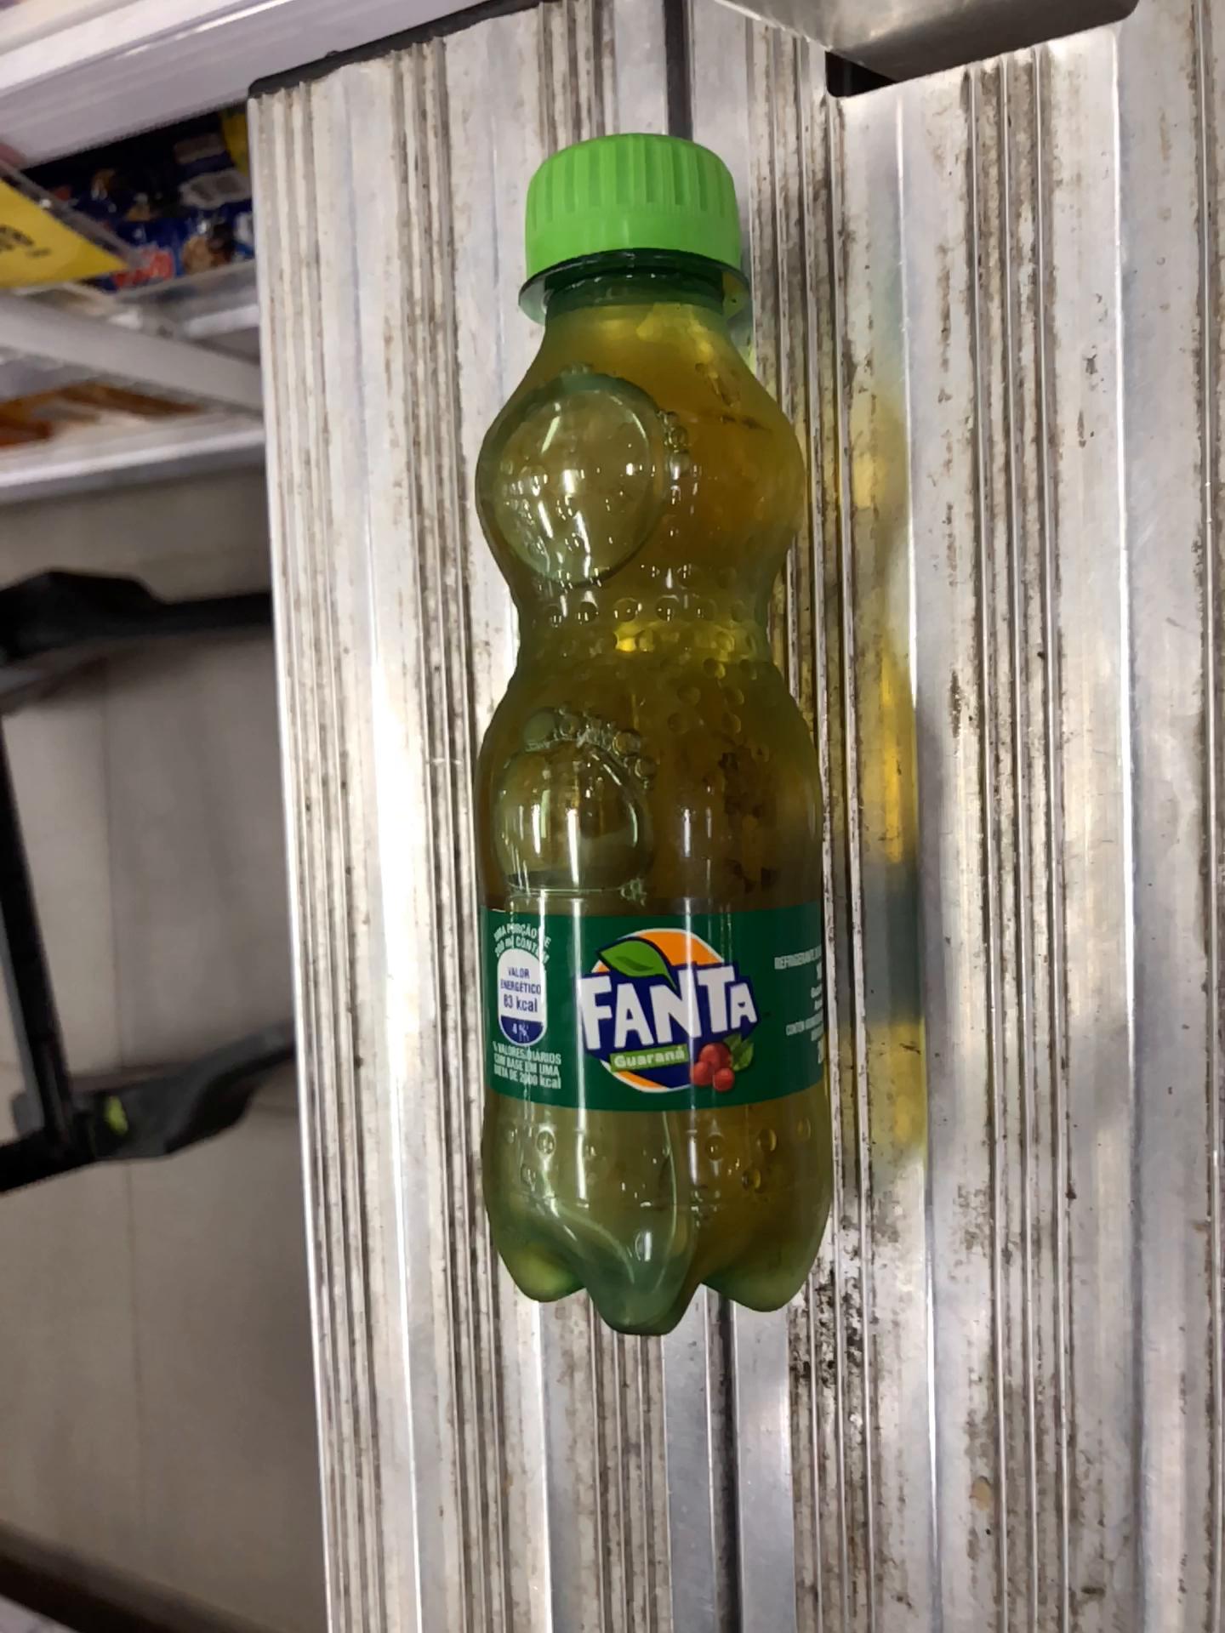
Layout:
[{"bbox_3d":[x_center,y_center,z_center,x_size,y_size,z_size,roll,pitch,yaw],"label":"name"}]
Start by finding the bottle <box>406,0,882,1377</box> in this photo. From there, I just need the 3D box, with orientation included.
[{"bbox_3d":[0.002,-0.020,0.190,0.050,0.050,0.170,-176,85,-75],"label":"bottle"}]
